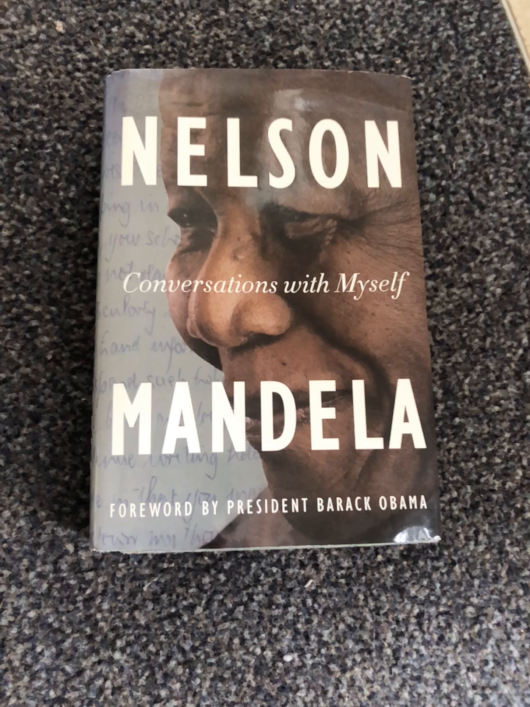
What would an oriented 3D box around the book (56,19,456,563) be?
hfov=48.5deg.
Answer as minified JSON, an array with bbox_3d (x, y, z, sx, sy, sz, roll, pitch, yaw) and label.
[{"bbox_3d":[-0.004,-0.033,0.294,0.170,0.050,0.250,0,80,-5],"label":"book"}]
